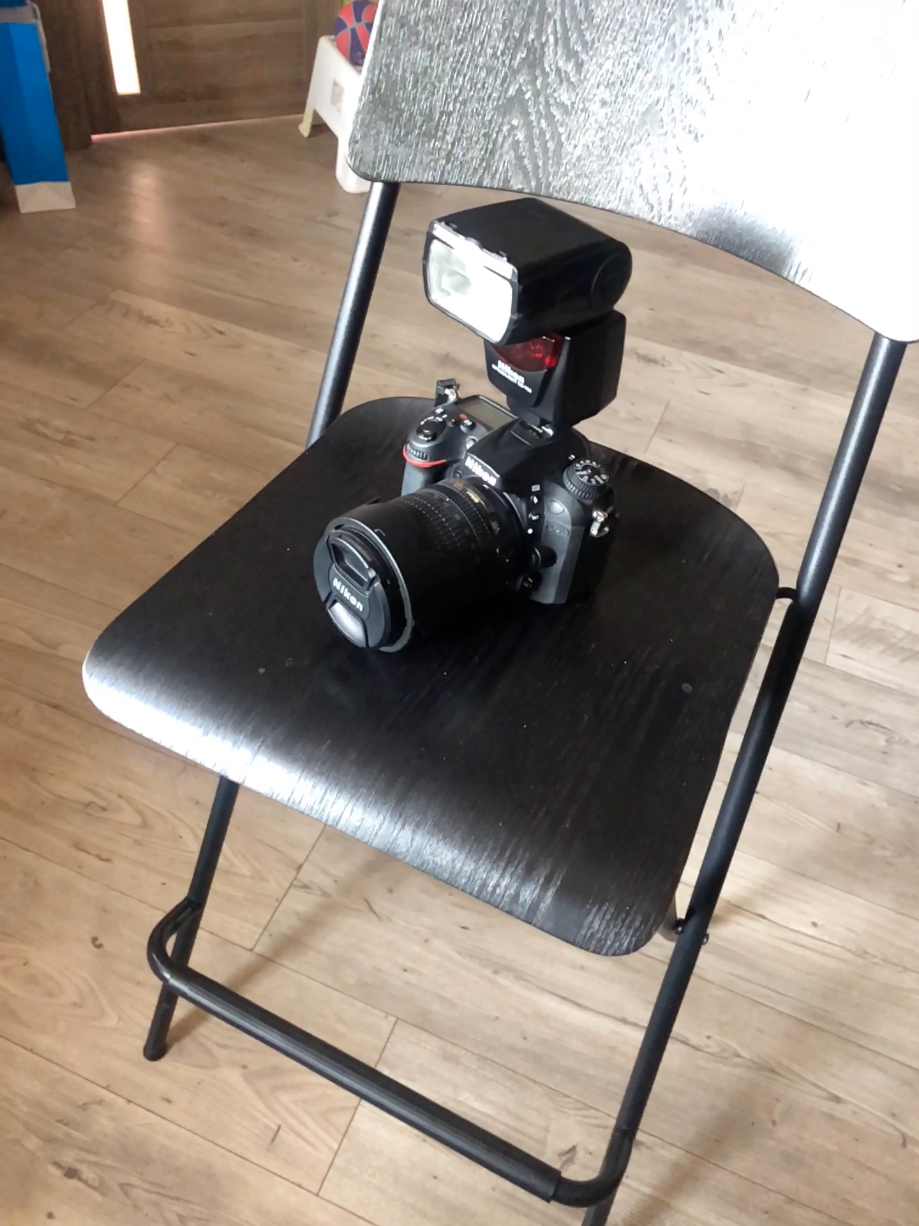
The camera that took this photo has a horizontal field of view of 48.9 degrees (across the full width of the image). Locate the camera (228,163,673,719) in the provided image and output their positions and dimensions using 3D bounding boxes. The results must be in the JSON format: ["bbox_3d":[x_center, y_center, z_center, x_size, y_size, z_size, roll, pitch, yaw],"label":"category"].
[{"bbox_3d":[-0.006,-0.092,0.544,0.168,0.217,0.125,-32,54,-31],"label":"camera"}]
